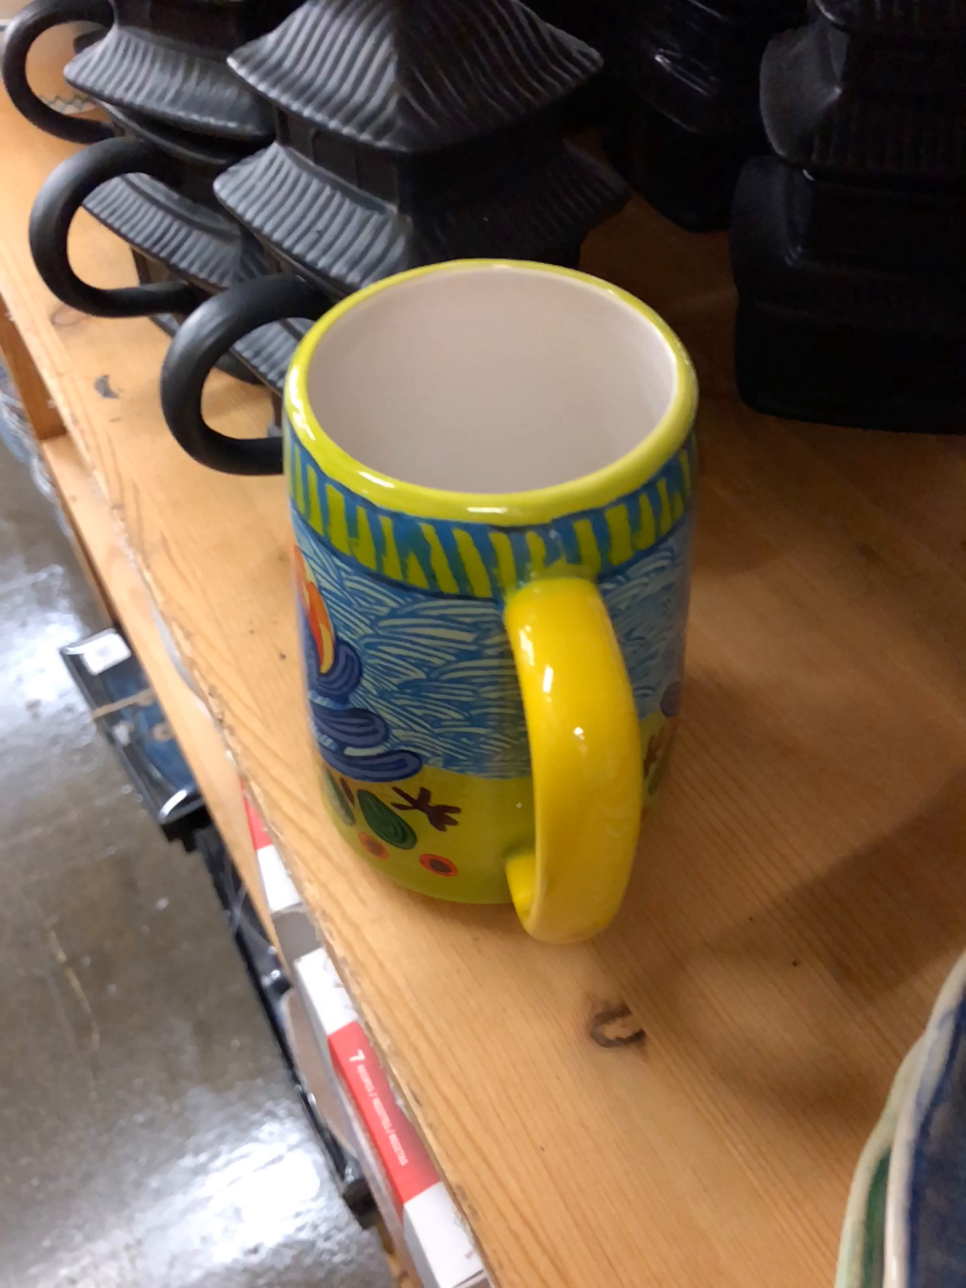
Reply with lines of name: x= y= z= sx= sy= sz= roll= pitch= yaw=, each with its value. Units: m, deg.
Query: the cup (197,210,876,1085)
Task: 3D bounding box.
cup: x=0.000 y=0.004 z=0.220 sx=0.086 sy=0.125 sz=0.114 roll=-9 pitch=50 yaw=-6
